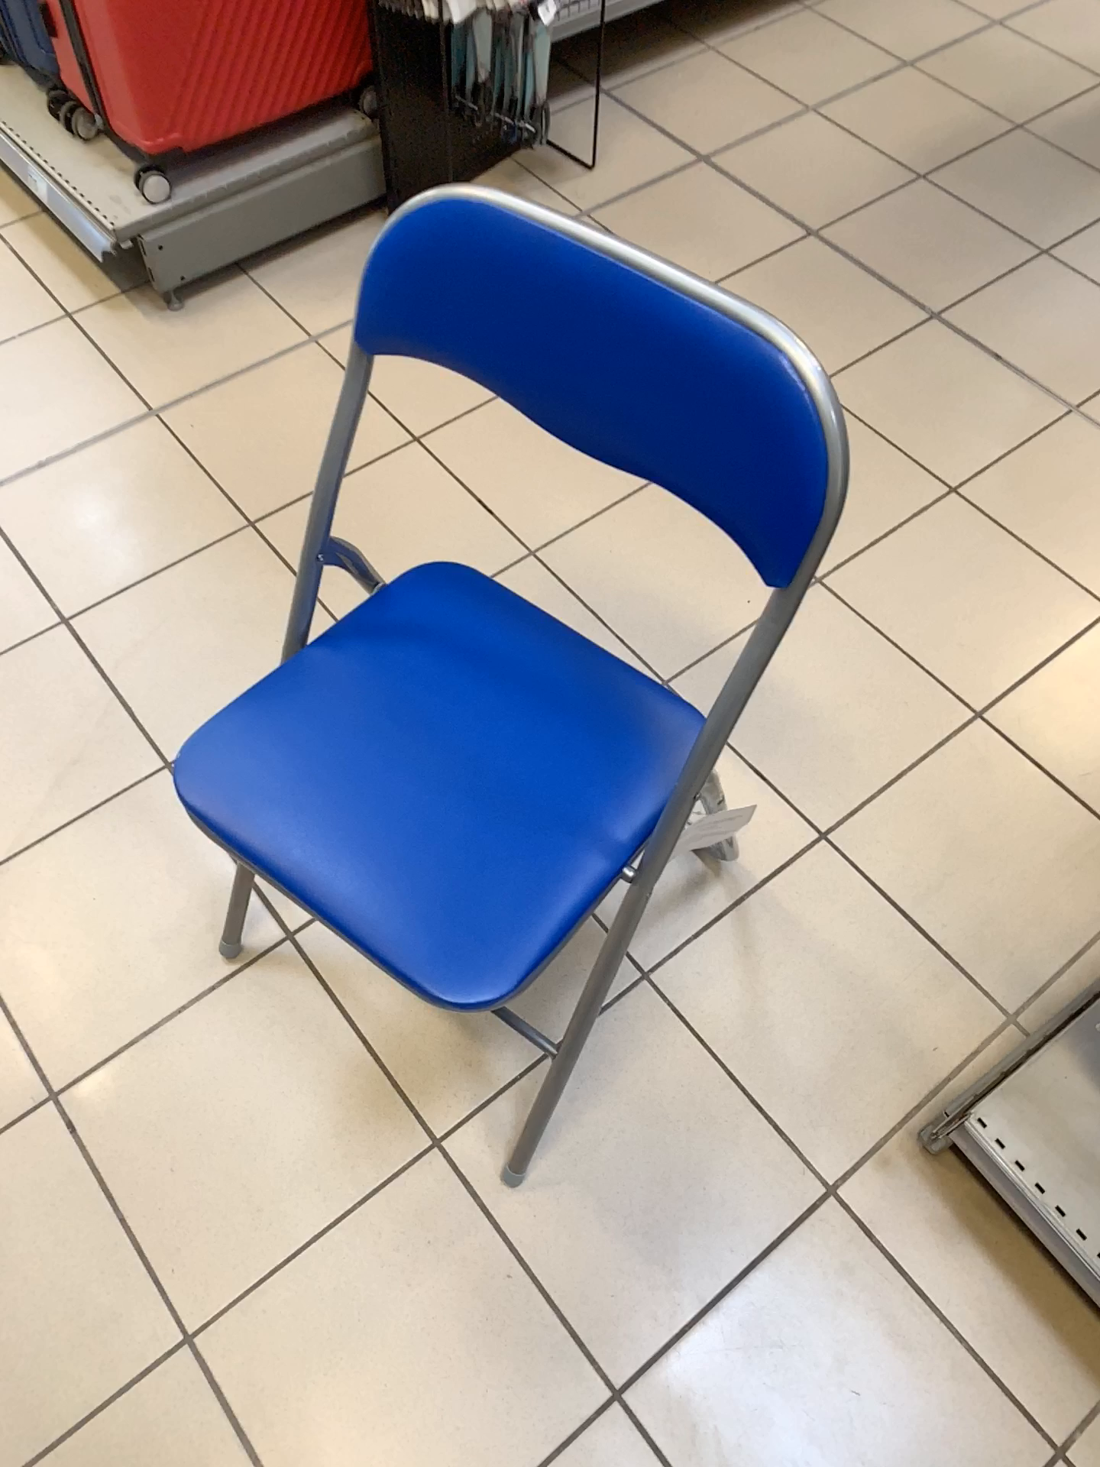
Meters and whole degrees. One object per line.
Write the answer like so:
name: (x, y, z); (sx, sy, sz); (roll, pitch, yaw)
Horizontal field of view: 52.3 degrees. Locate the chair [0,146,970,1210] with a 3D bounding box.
chair: (-0.064, -0.007, 1.012); (0.479, 0.664, 0.525); (32, 63, 18)
